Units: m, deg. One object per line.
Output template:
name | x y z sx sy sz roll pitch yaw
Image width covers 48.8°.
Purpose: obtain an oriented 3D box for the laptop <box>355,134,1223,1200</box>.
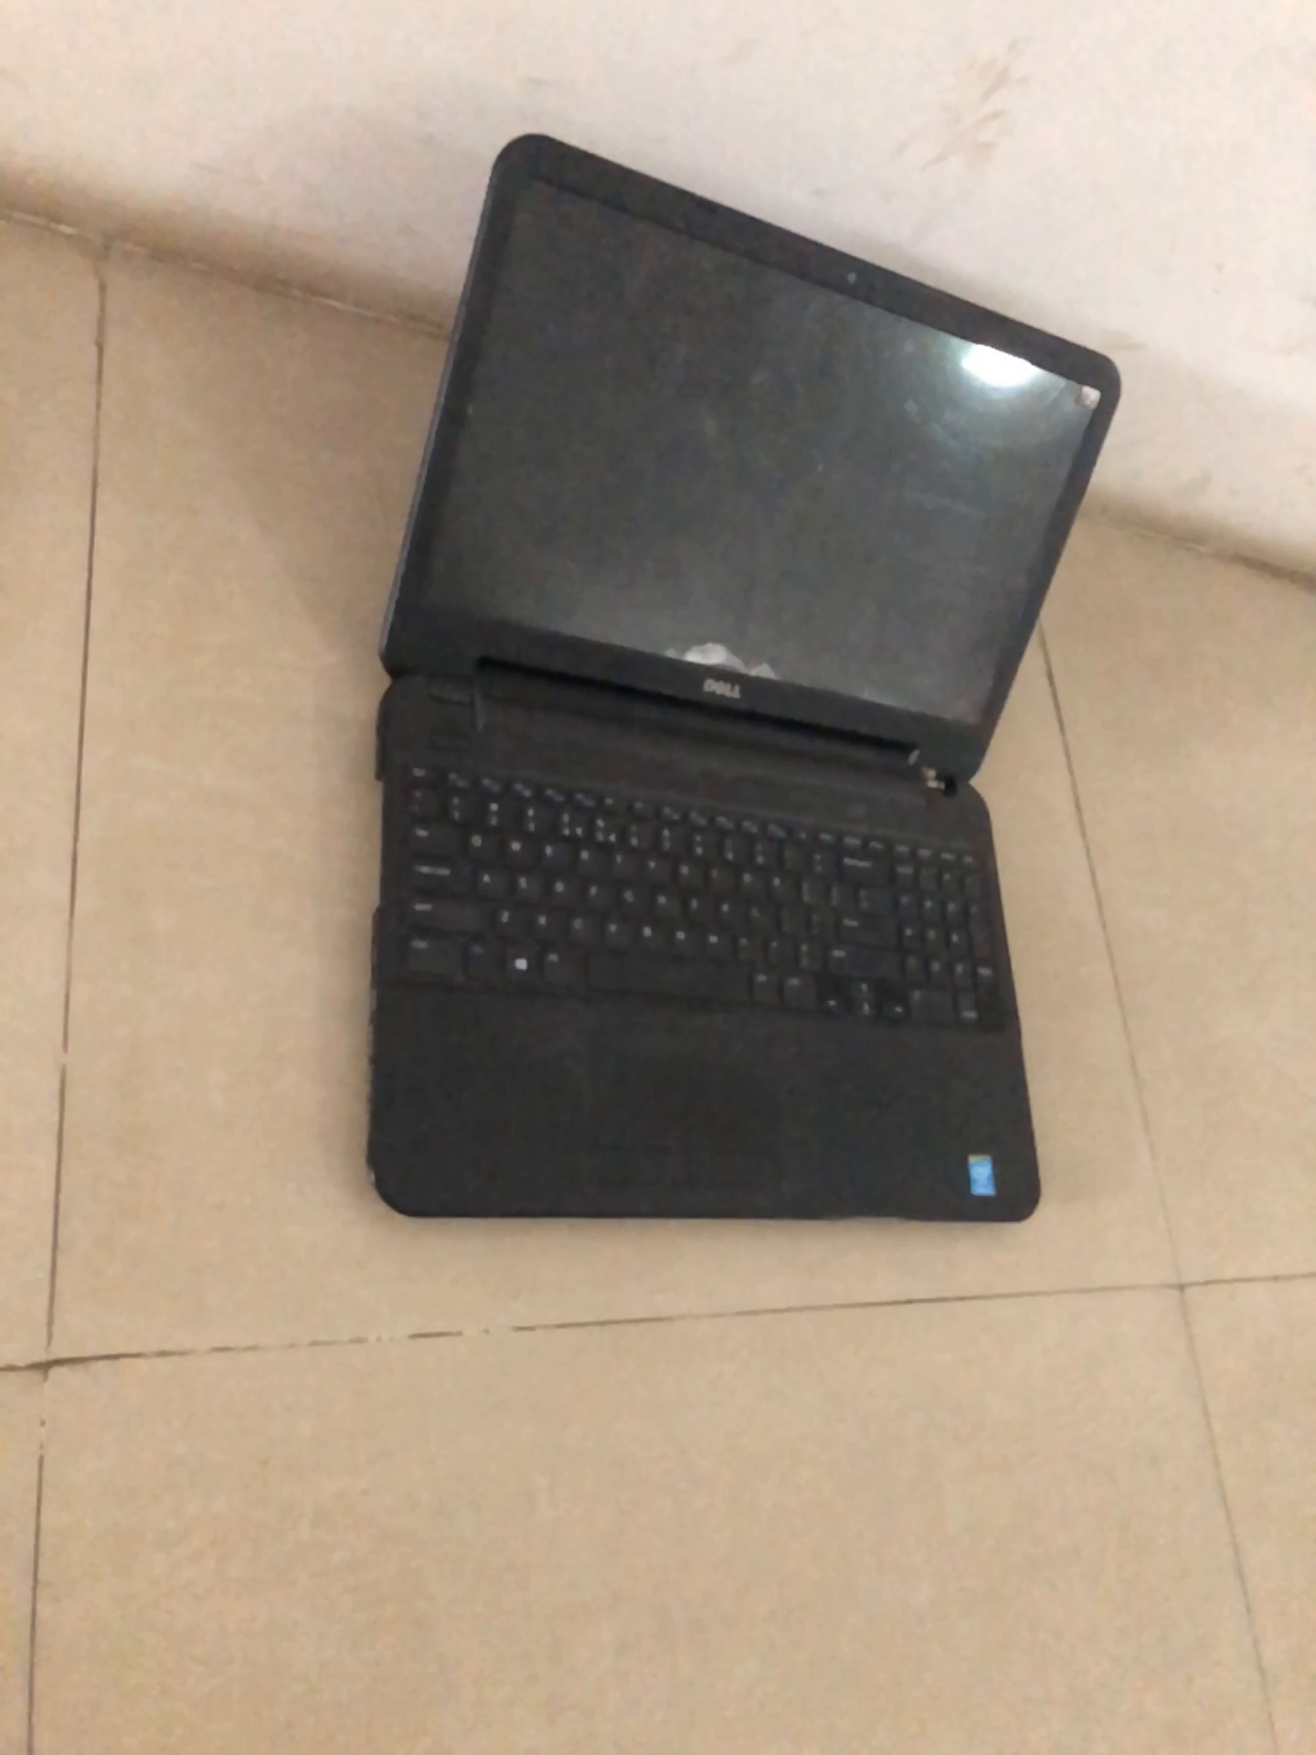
laptop | 0.044 -0.070 0.676 0.323 0.165 0.409 7 66 -30
